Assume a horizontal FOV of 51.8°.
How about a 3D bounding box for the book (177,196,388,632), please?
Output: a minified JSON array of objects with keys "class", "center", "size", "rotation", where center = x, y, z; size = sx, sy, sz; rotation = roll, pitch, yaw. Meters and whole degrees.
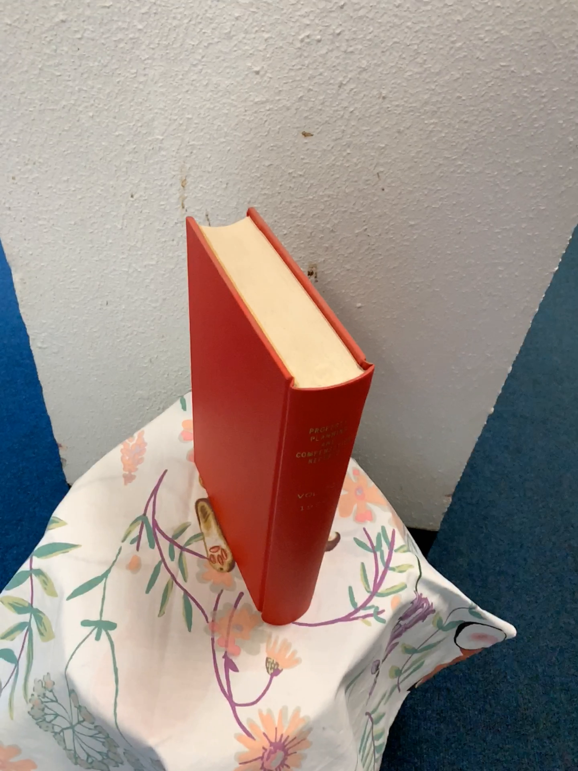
[{"class":"book","center":[-0.020,0.028,0.405],"size":[0.050,0.245,0.169],"rotation":[-15,48,-19]}]
